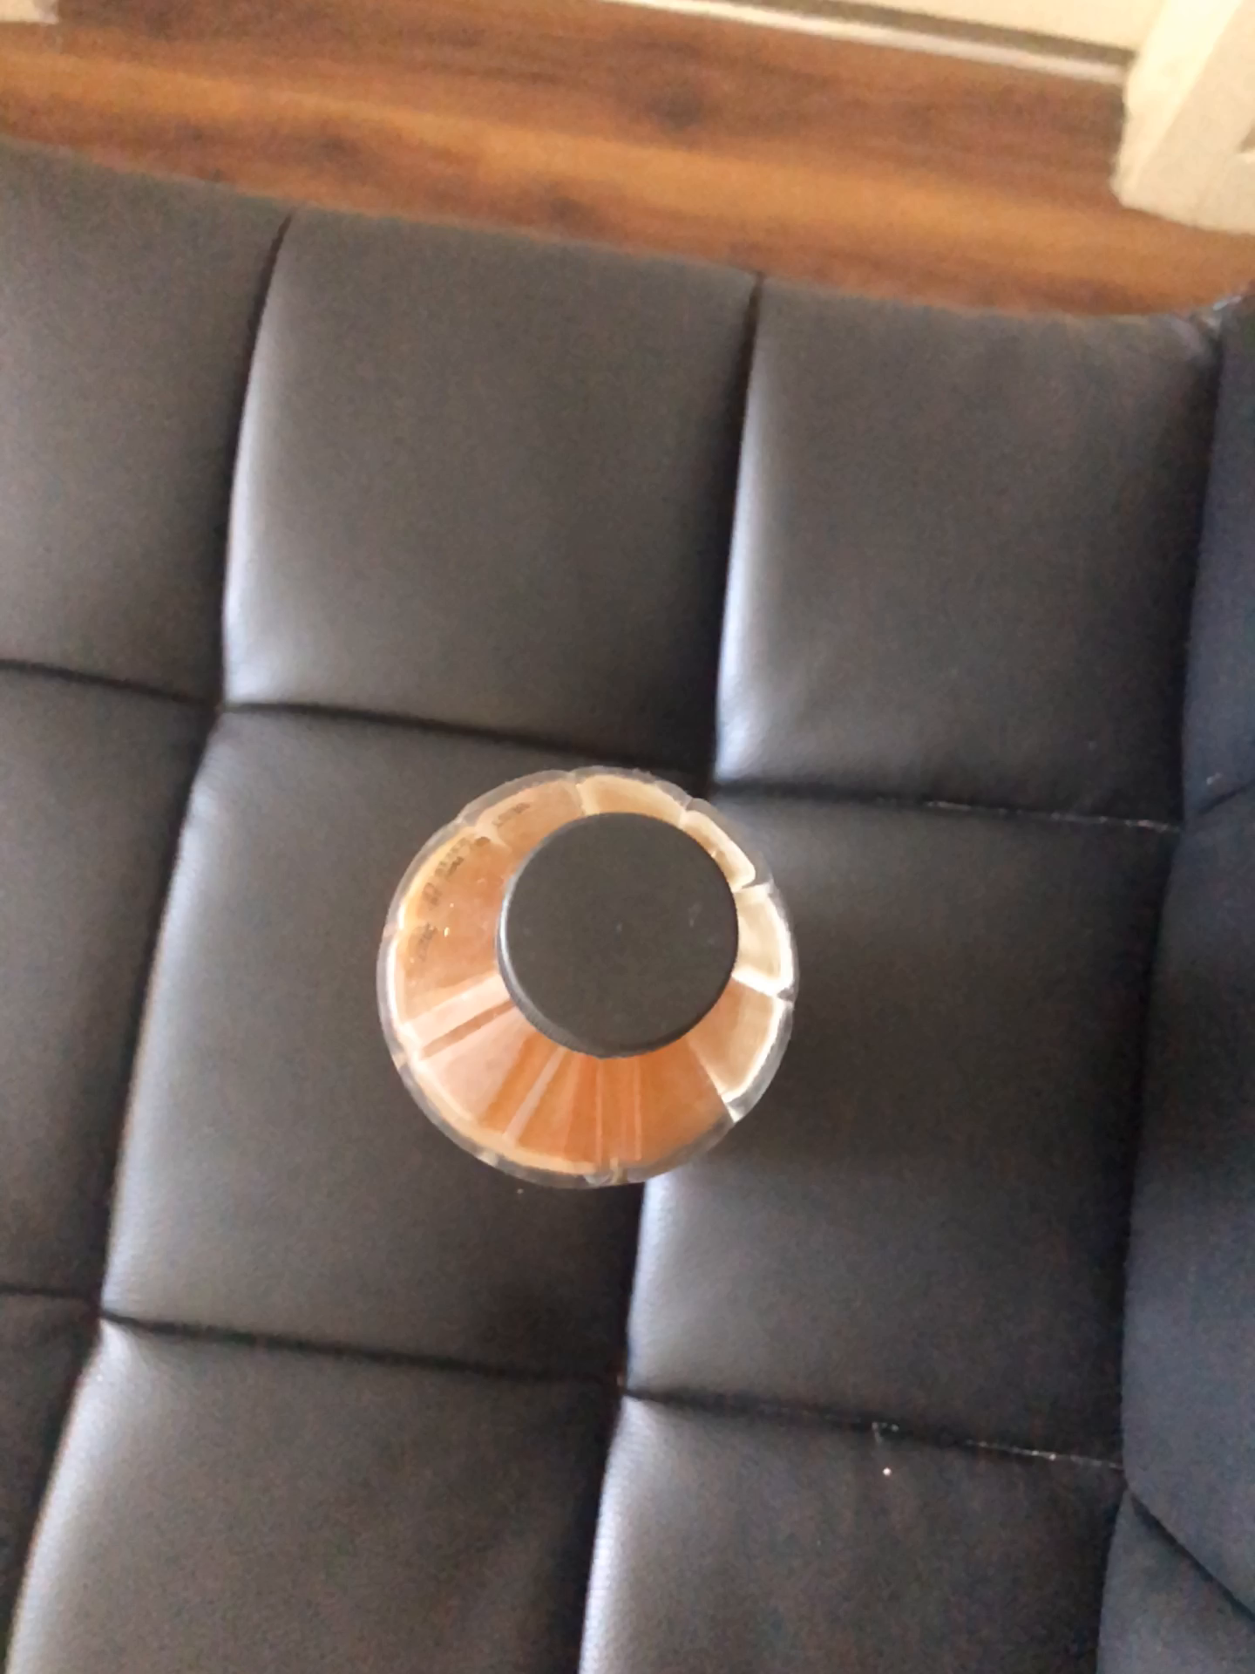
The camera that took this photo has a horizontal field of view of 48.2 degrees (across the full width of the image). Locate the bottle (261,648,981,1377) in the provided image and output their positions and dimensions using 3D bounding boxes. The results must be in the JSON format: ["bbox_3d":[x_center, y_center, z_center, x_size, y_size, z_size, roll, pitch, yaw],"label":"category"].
[{"bbox_3d":[-0.009,0.032,0.264,0.070,0.180,0.070,1,82,-6],"label":"bottle"}]

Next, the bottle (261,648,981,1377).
[{"bbox_3d":[-0.009,0.032,0.264,0.070,0.180,0.070,1,82,-6],"label":"bottle"}]
